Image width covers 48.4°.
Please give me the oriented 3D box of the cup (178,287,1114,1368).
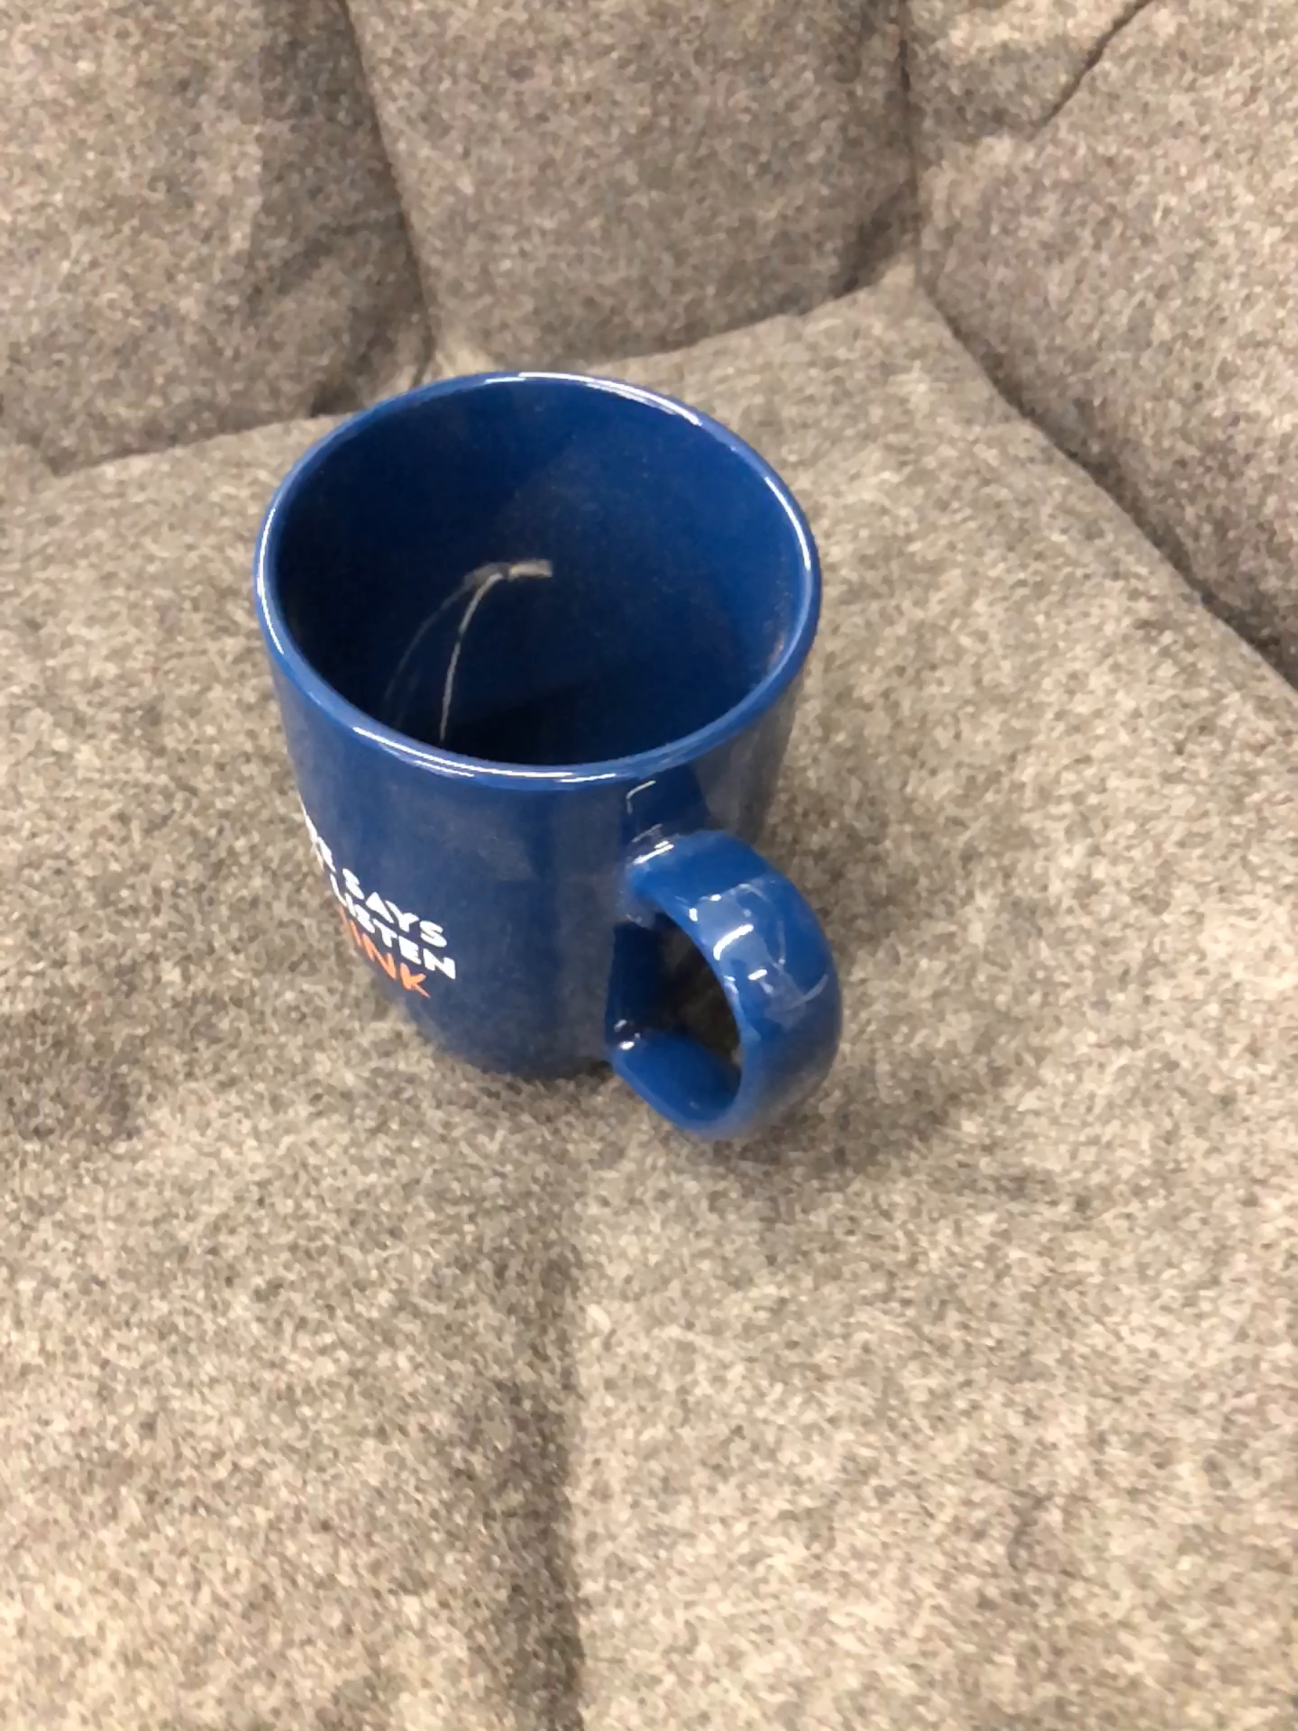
[{"bbox_3d":[-0.008,-0.007,0.255,0.090,0.109,0.131,-21,57,-14],"label":"cup"}]
